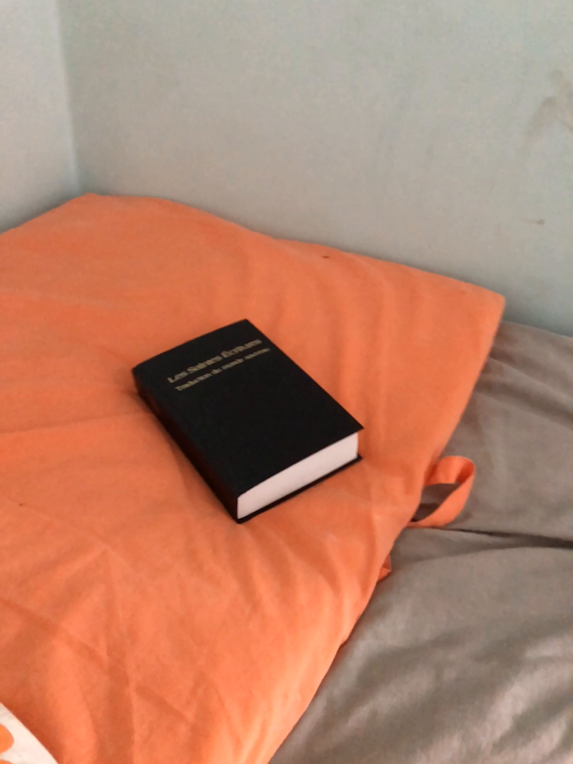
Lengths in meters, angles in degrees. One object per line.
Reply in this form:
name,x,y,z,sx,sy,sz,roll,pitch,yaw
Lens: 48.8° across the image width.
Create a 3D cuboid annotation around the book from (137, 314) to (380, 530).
book,-0.028,0.022,0.529,0.127,0.030,0.174,-25,50,-24
